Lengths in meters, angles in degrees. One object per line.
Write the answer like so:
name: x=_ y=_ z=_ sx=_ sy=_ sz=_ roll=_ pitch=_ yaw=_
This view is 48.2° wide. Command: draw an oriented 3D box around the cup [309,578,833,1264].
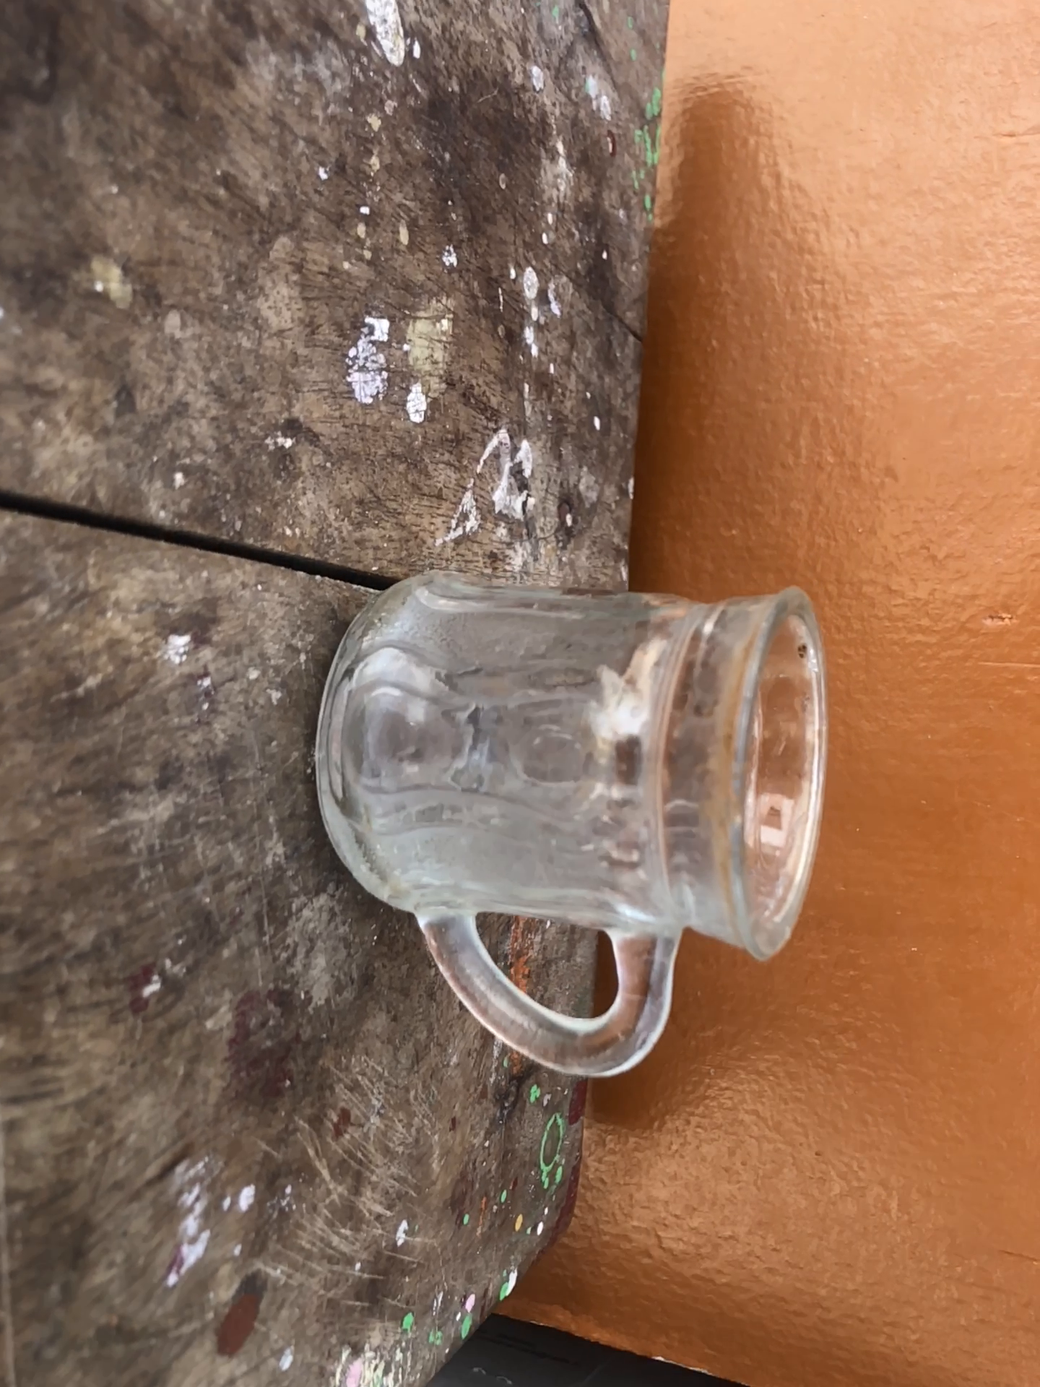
cup: x=0.009 y=0.024 z=0.169 sx=0.050 sy=0.060 sz=0.080 roll=-9 pitch=101 yaw=-66
